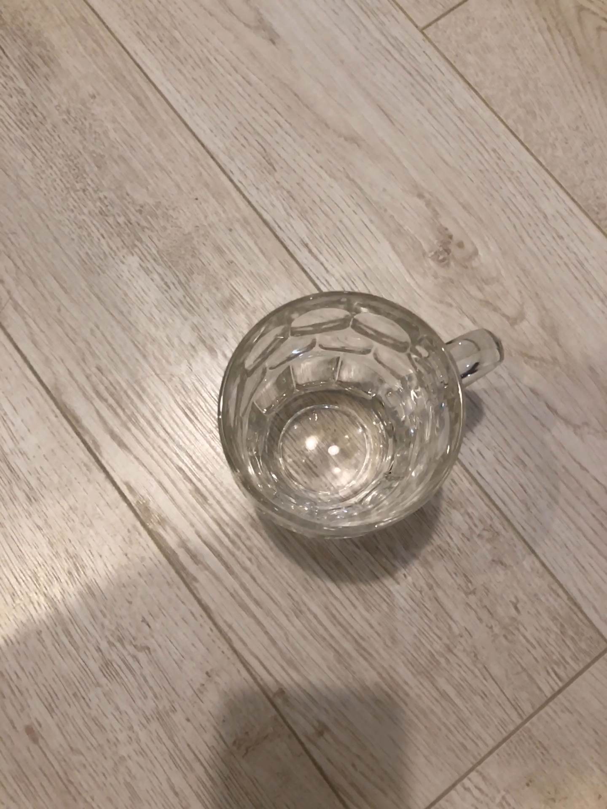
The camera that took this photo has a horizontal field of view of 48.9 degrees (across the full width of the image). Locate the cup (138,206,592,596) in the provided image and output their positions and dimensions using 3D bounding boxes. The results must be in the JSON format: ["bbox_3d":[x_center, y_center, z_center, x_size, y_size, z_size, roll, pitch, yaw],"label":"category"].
[{"bbox_3d":[0.021,0.005,0.302,0.140,0.110,0.100,-23,80,-6],"label":"cup"}]
